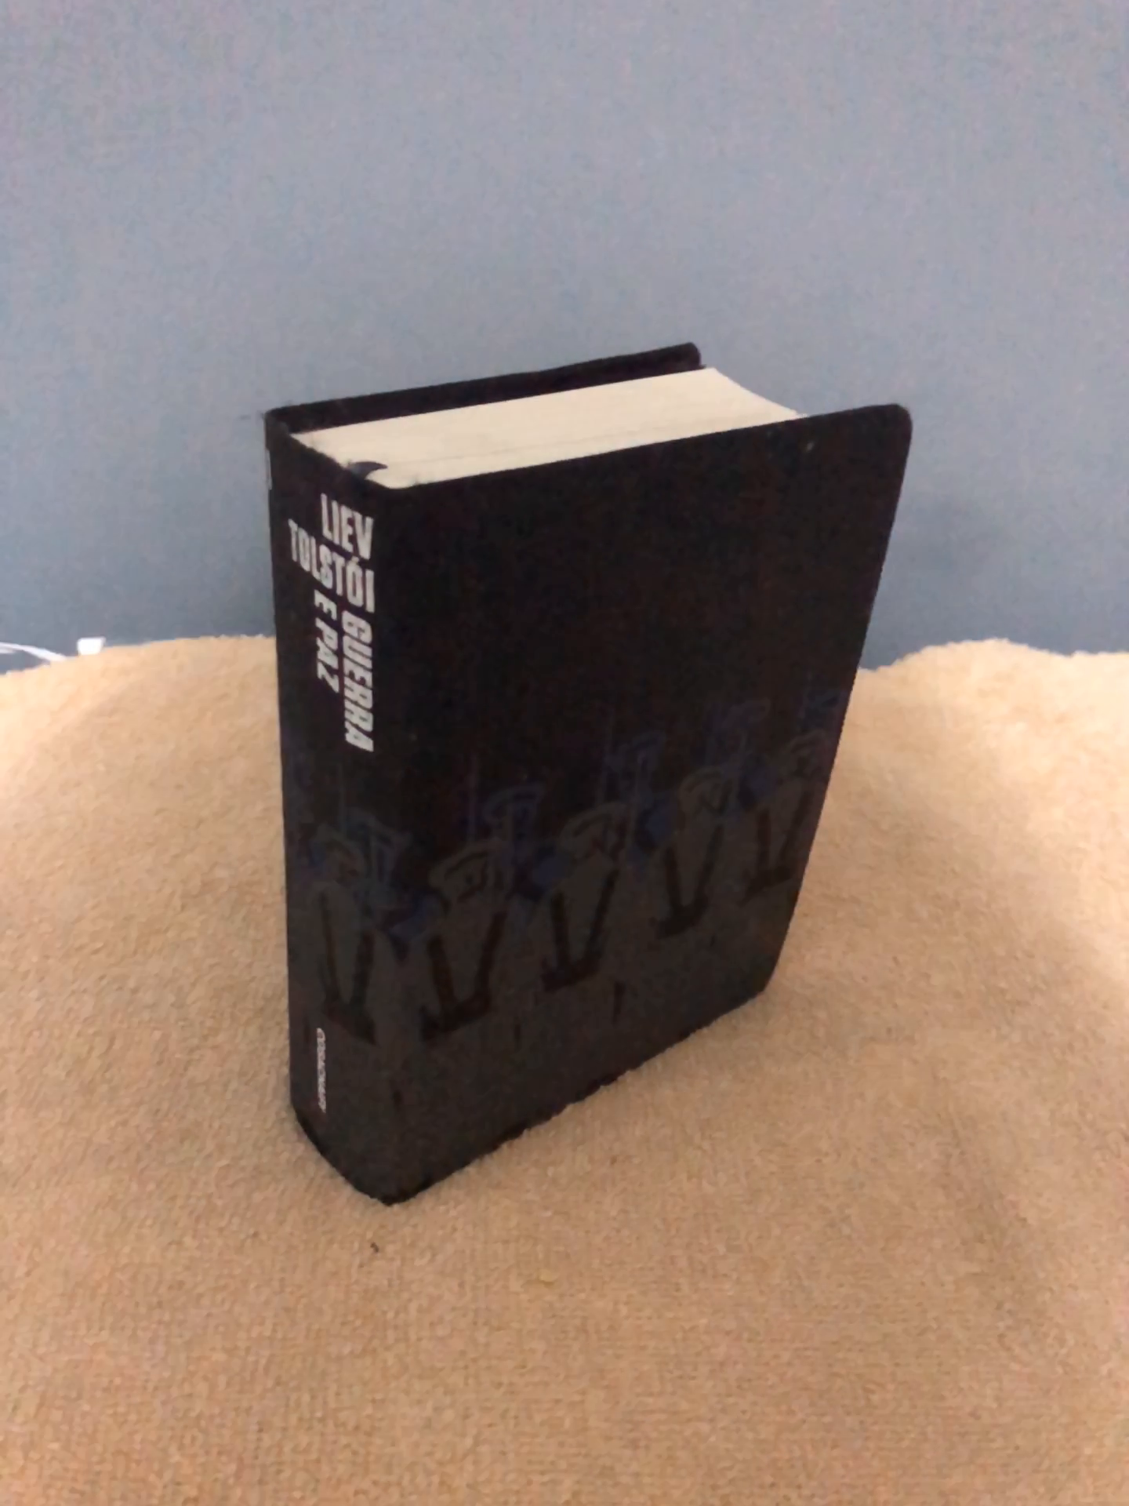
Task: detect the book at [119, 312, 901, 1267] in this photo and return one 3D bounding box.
[{"bbox_3d":[-0.009,0.003,0.295,0.151,0.179,0.060,-21,39,-35],"label":"book"}]
